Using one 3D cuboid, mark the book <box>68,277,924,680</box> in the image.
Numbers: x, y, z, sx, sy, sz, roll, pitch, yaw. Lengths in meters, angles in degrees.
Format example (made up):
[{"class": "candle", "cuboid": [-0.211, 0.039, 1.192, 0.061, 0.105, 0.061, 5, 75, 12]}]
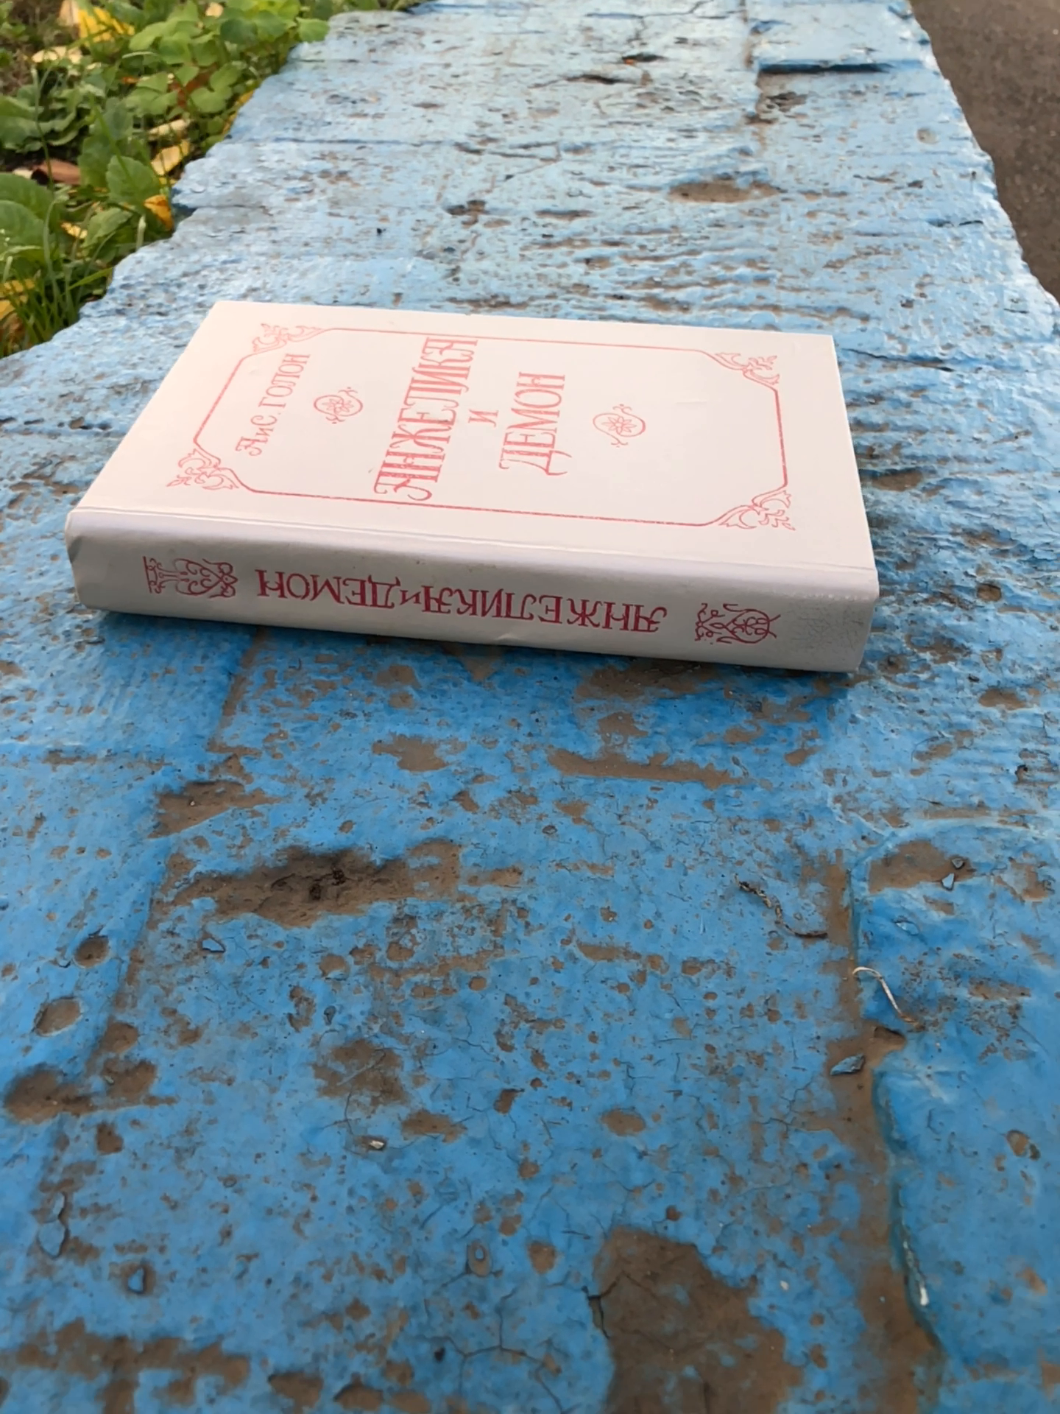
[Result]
[{"class": "book", "cuboid": [-0.004, -0.076, 0.350, 0.211, 0.032, 0.141, 5, 44, 3]}]
